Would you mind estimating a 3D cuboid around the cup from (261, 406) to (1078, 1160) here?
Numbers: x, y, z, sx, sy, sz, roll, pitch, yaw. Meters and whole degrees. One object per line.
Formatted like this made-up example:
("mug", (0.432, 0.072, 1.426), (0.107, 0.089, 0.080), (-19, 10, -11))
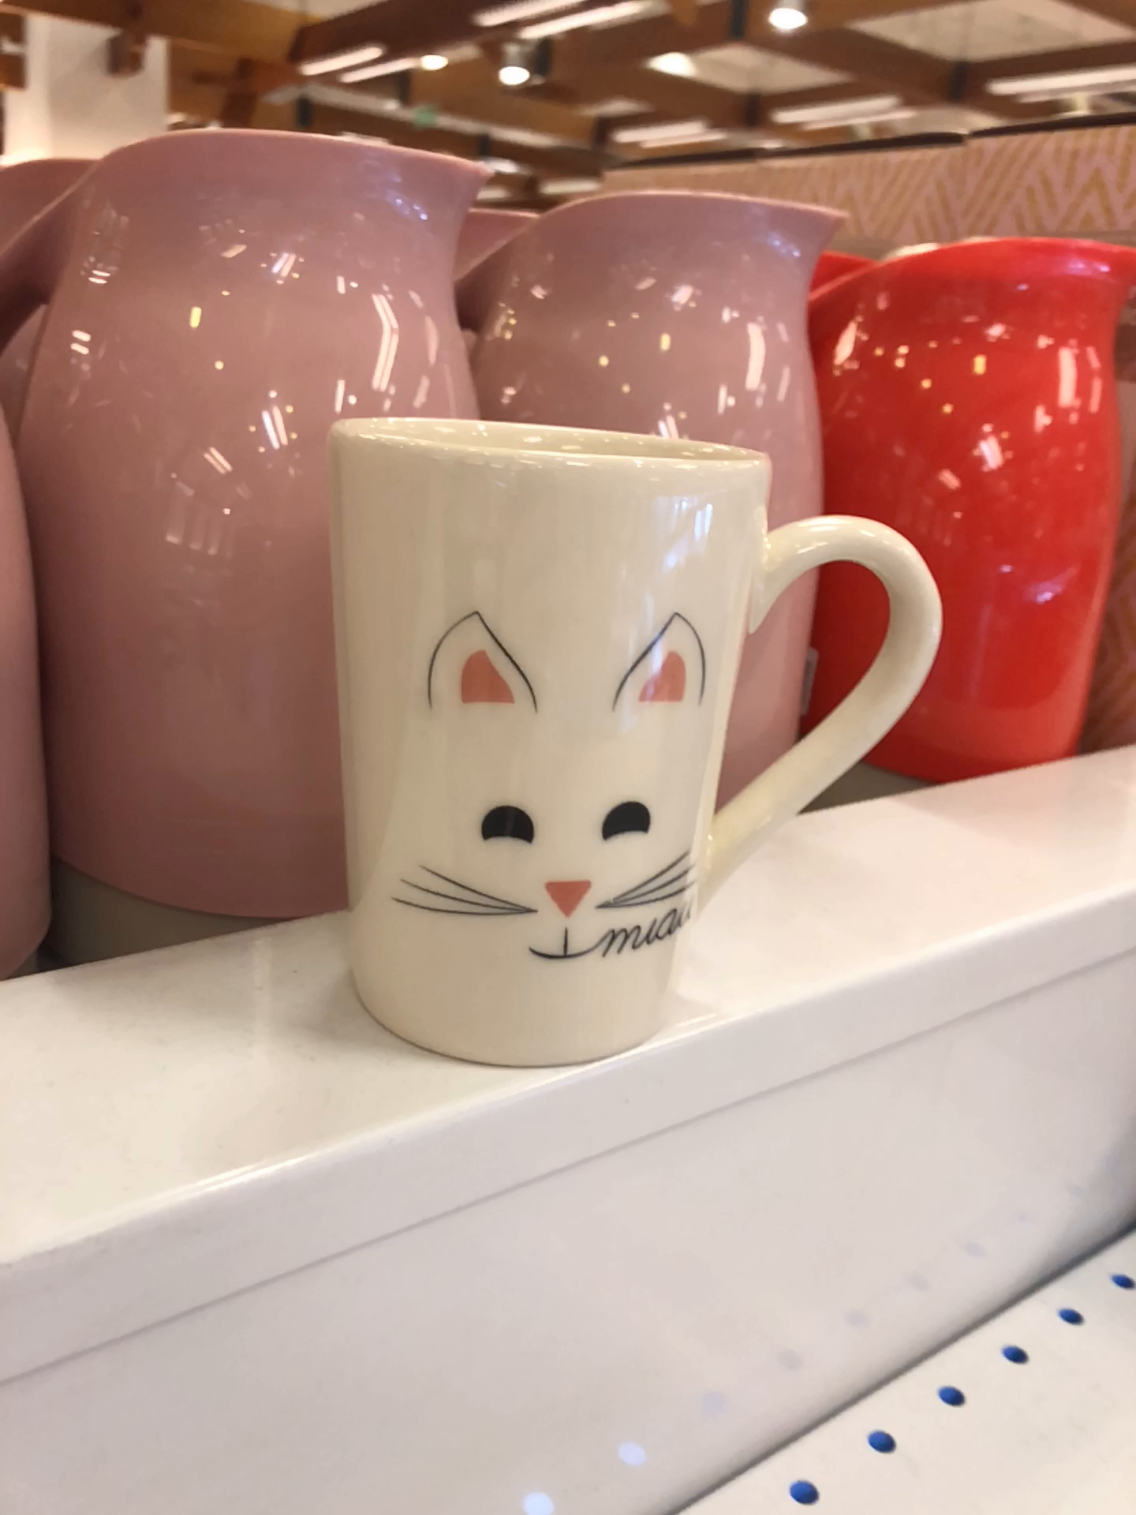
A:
("cup", (0.008, -0.004, 0.222), (0.110, 0.099, 0.080), (-1, 18, -20))
